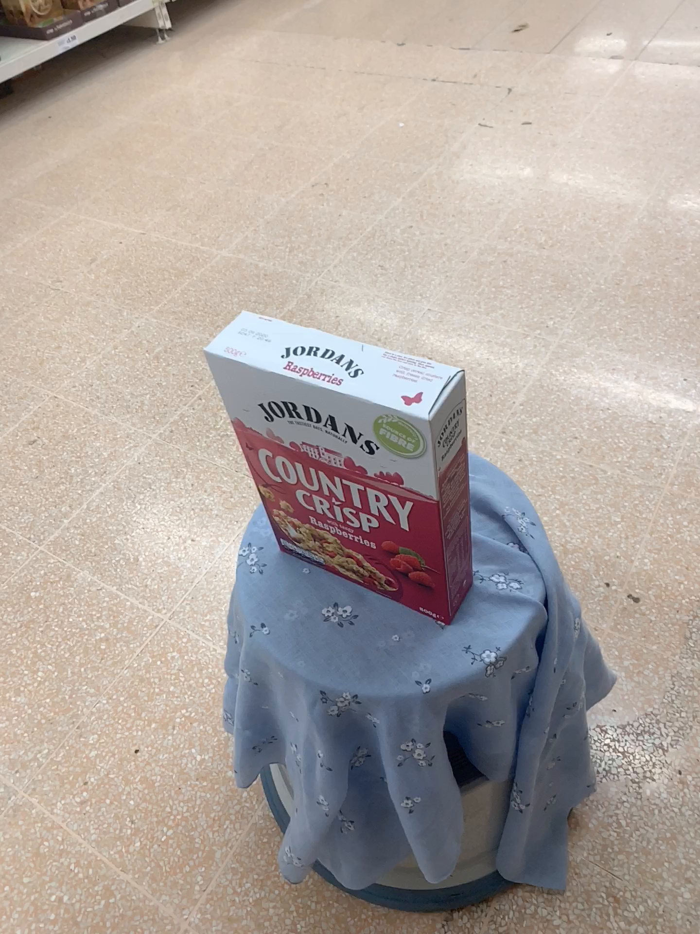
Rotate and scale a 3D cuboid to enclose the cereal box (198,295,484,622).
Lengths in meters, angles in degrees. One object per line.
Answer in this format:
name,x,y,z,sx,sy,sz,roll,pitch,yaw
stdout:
cereal box,0.007,0.003,0.603,0.201,0.268,0.060,20,57,25
